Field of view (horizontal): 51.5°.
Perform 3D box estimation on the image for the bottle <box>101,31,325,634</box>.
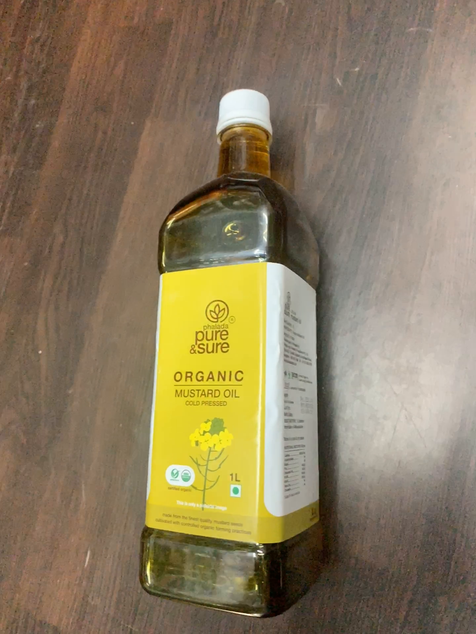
[{"bbox_3d":[-0.004,0.004,0.265,0.080,0.080,0.270,-4,78,25],"label":"bottle"}]
